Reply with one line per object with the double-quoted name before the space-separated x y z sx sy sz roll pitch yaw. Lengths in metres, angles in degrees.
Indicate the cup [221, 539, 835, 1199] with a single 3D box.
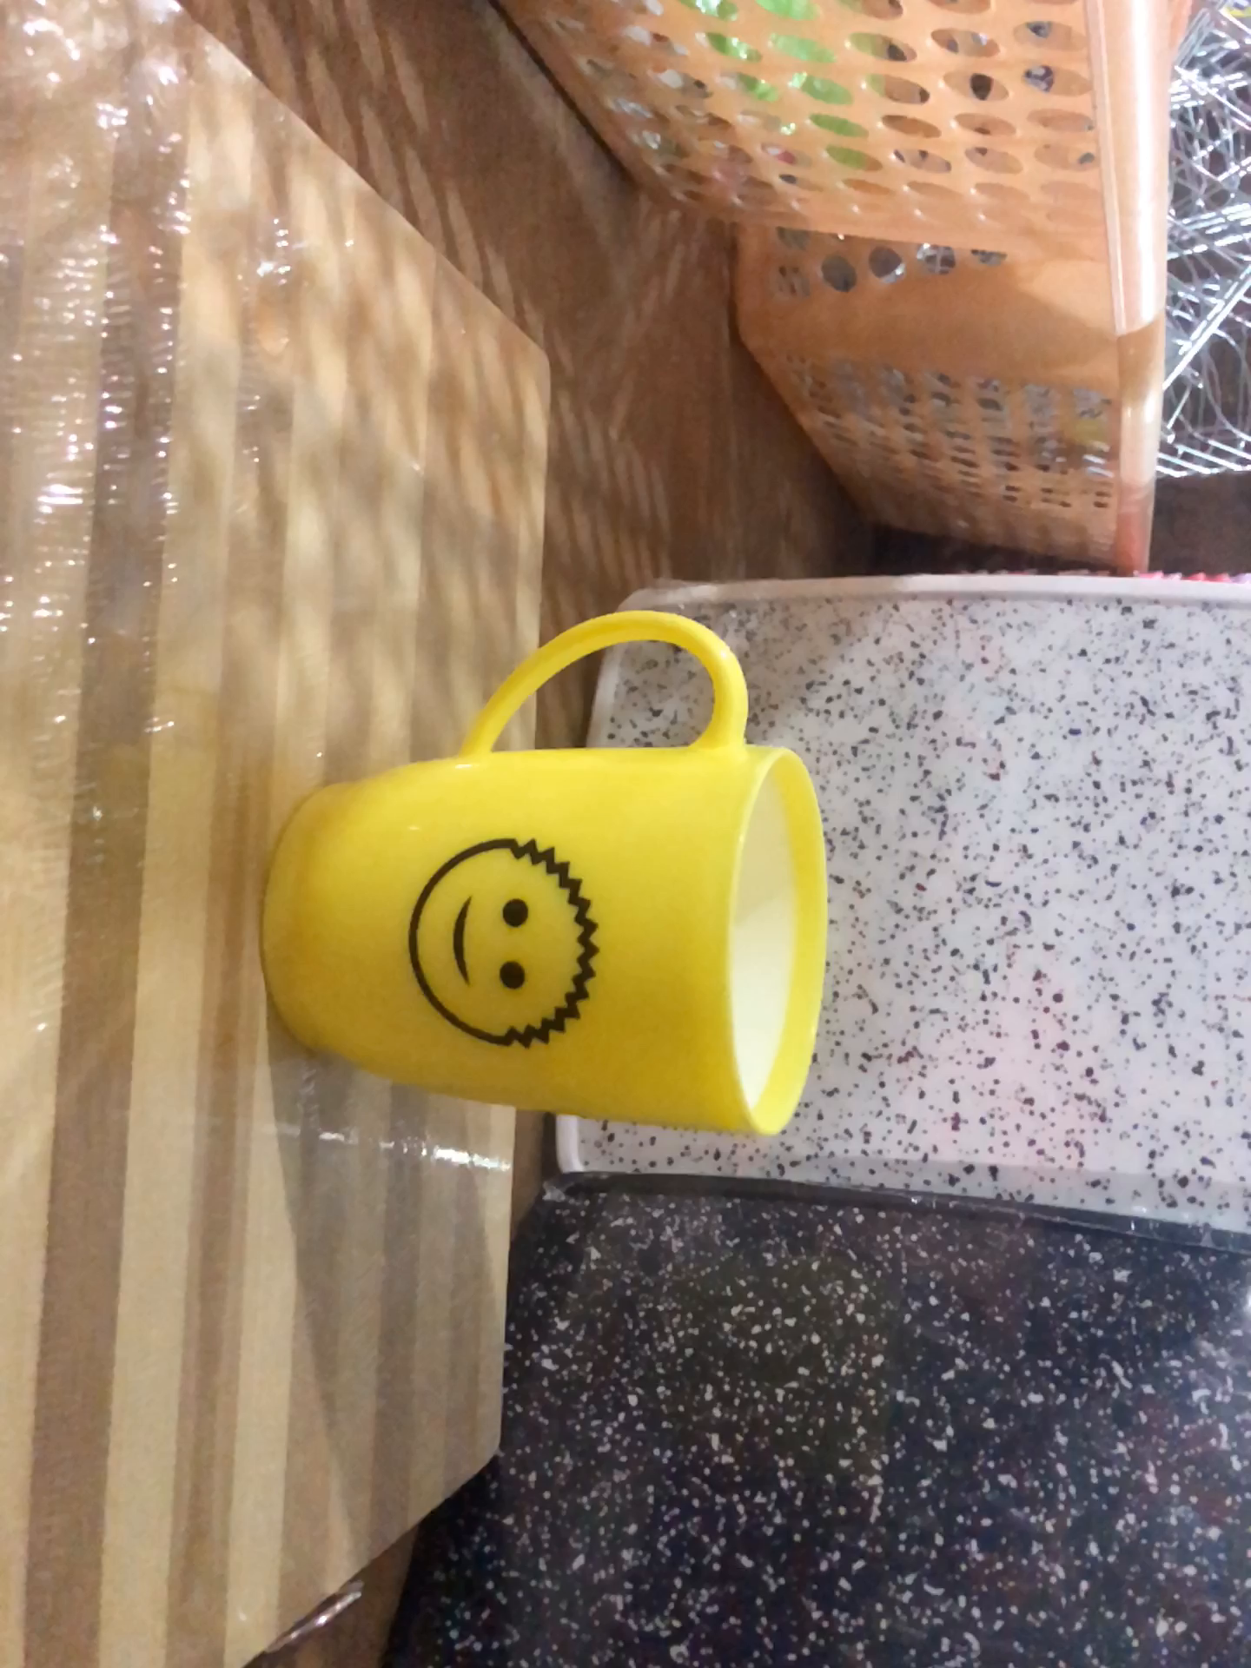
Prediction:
"cup" -0.016 0.006 0.286 0.081 0.099 0.110 2 89 -69
